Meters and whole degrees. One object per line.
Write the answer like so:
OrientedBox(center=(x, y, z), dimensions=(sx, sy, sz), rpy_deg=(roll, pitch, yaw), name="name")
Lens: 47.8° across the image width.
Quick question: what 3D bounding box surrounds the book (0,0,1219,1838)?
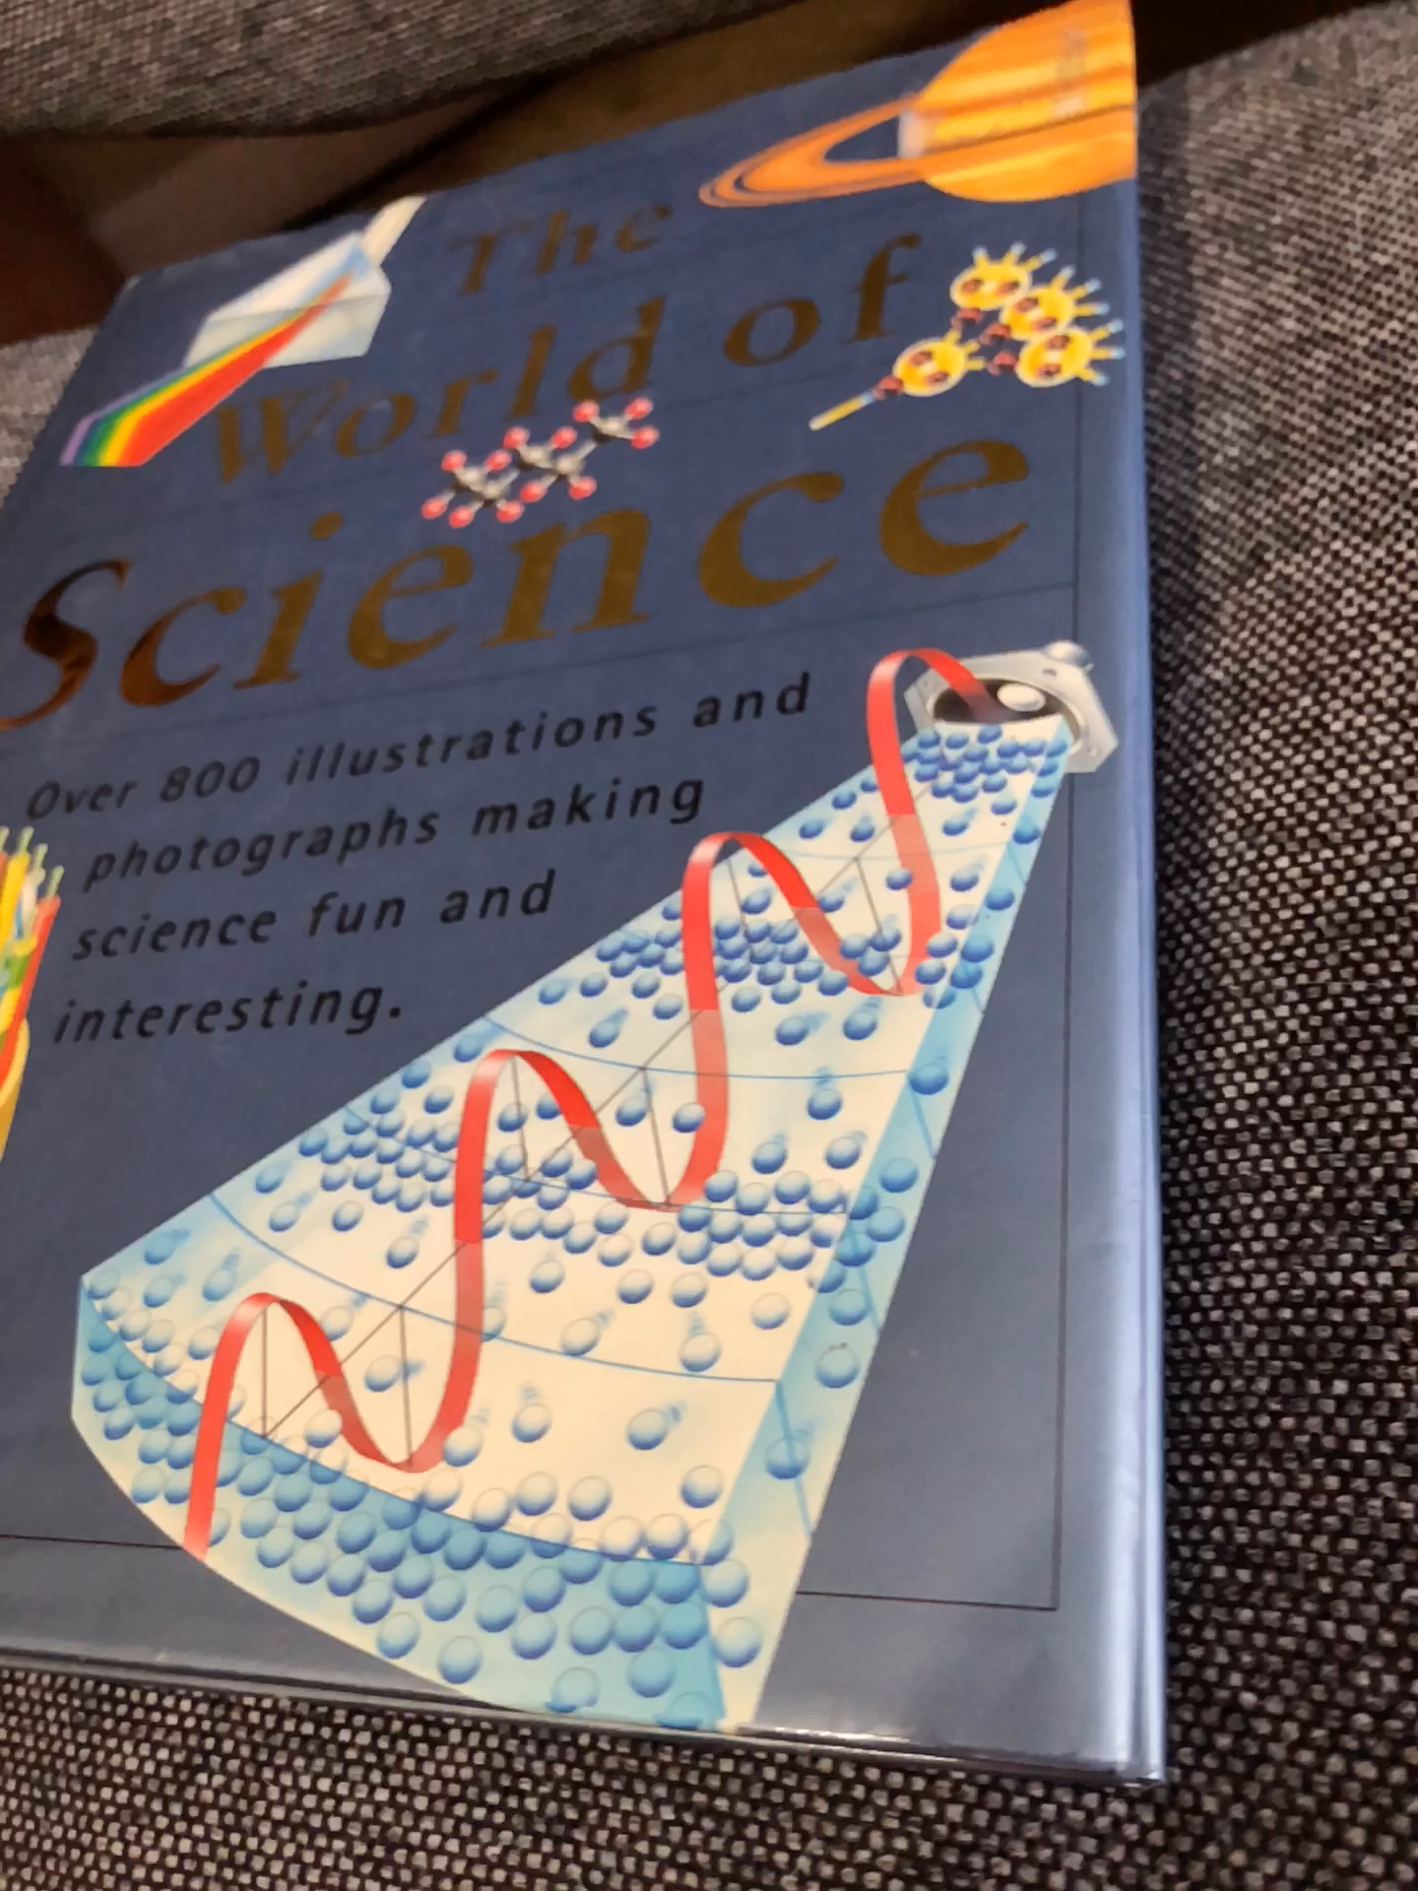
OrientedBox(center=(-0.047, -0.033, 0.245), dimensions=(0.221, 0.030, 0.276), rpy_deg=(-6, 55, 20), name="book")
